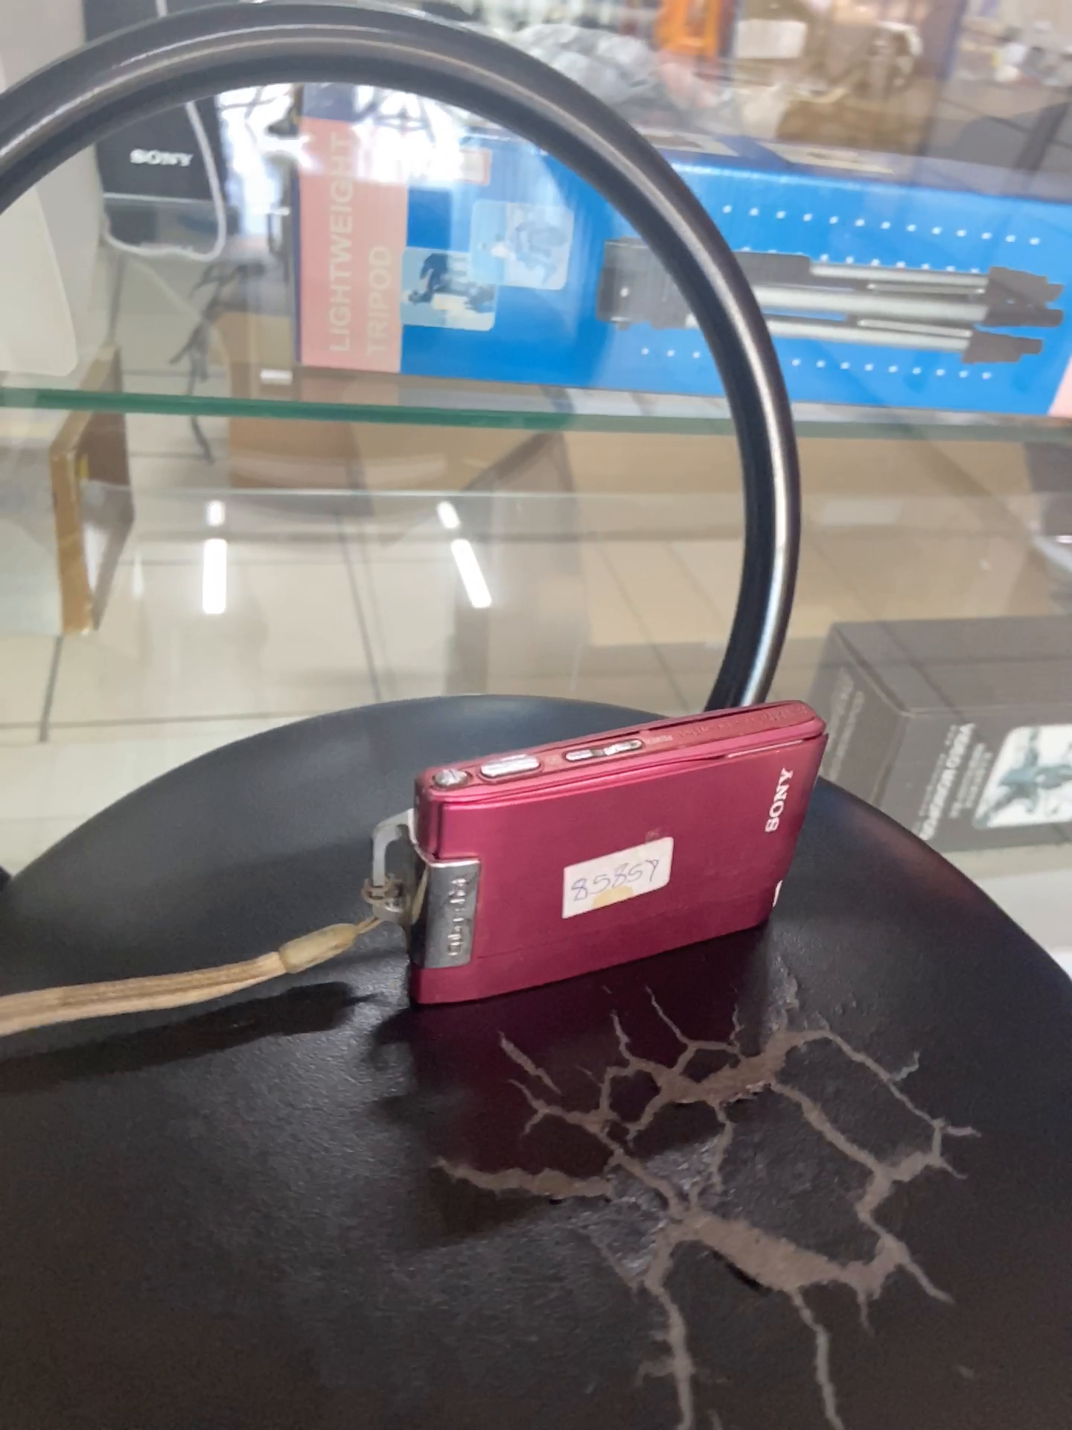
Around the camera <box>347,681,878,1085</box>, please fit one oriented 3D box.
[{"bbox_3d":[0.014,0.033,0.232,0.100,0.060,0.030,-9,38,-23],"label":"camera"}]
